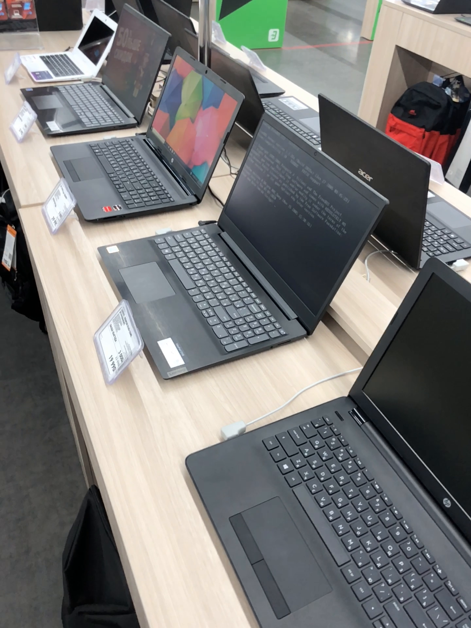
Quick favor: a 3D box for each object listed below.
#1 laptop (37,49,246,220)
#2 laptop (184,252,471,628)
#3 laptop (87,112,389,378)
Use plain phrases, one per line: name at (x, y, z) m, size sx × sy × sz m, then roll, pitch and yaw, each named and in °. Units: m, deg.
laptop at (-0.209, -0.403, 1.107) m, size 0.320 × 0.202 × 0.353 m, roll -14°, pitch 44°, yaw -20°
laptop at (0.146, 0.157, 0.469) m, size 0.297 × 0.208 × 0.338 m, roll -15°, pitch 44°, yaw -21°
laptop at (-0.021, -0.135, 0.809) m, size 0.322 × 0.210 × 0.341 m, roll -15°, pitch 43°, yaw -20°
